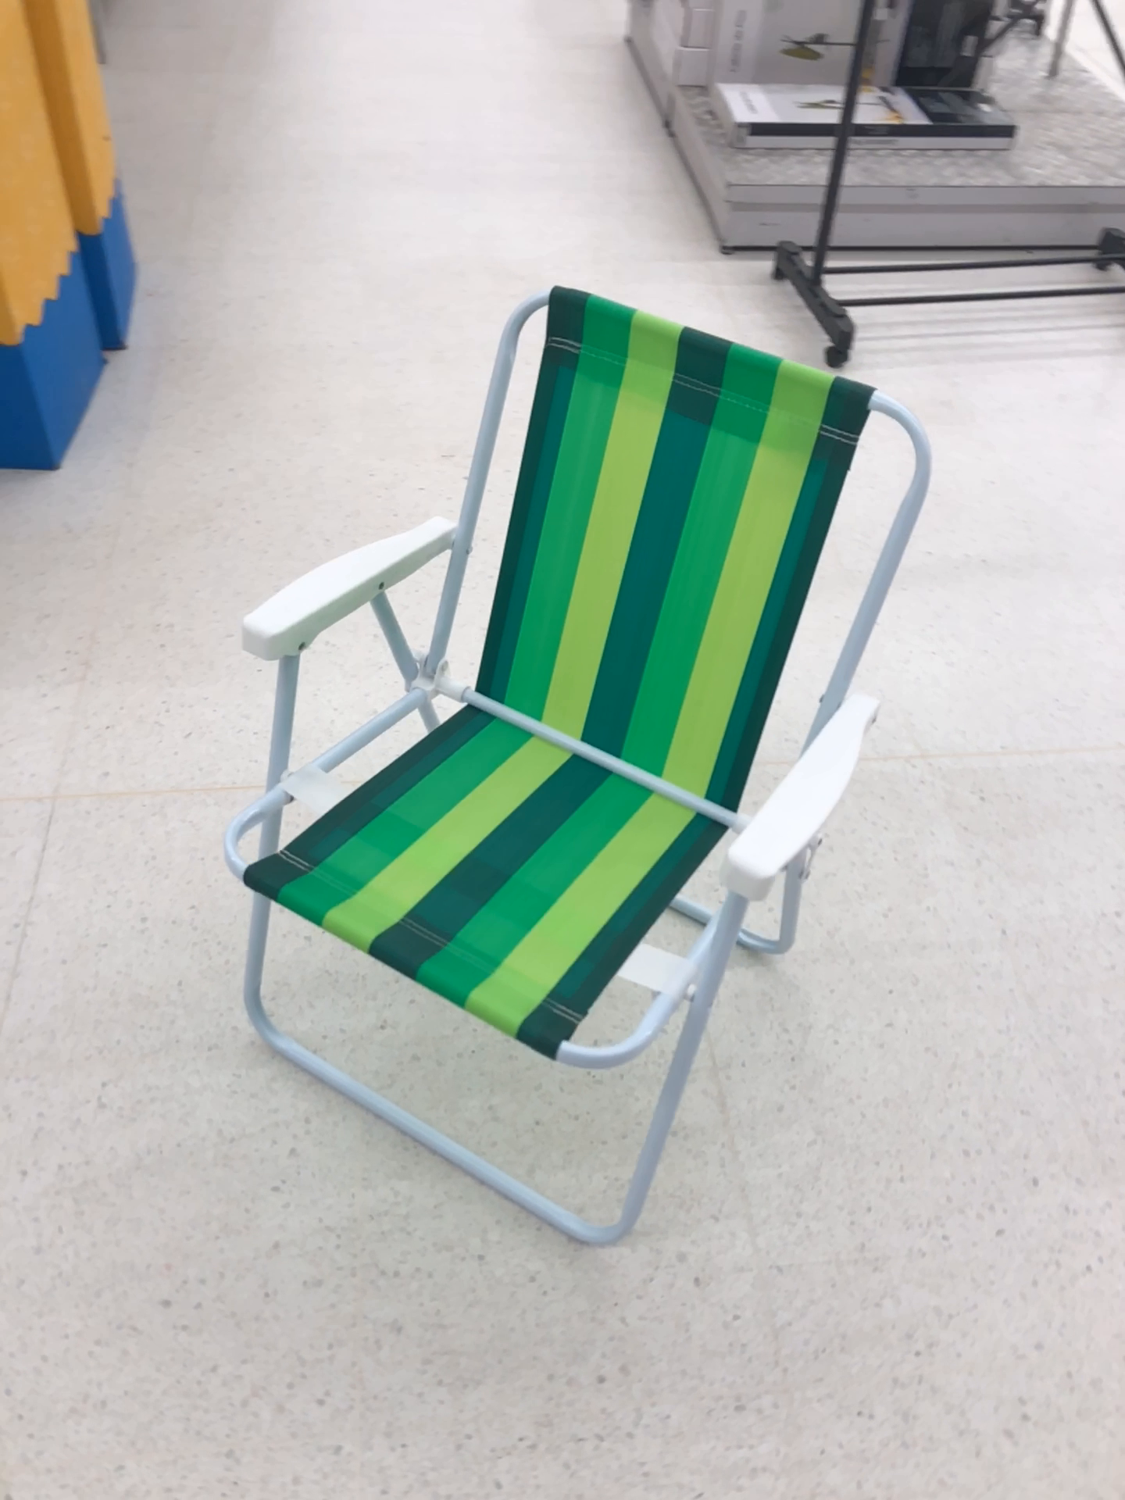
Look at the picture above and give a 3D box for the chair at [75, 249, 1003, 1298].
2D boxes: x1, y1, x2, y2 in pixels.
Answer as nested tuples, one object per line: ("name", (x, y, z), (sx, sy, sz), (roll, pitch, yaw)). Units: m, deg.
("chair", (-0.010, 0.024, 1.189), (0.511, 0.715, 0.523), (26, 49, 20))
